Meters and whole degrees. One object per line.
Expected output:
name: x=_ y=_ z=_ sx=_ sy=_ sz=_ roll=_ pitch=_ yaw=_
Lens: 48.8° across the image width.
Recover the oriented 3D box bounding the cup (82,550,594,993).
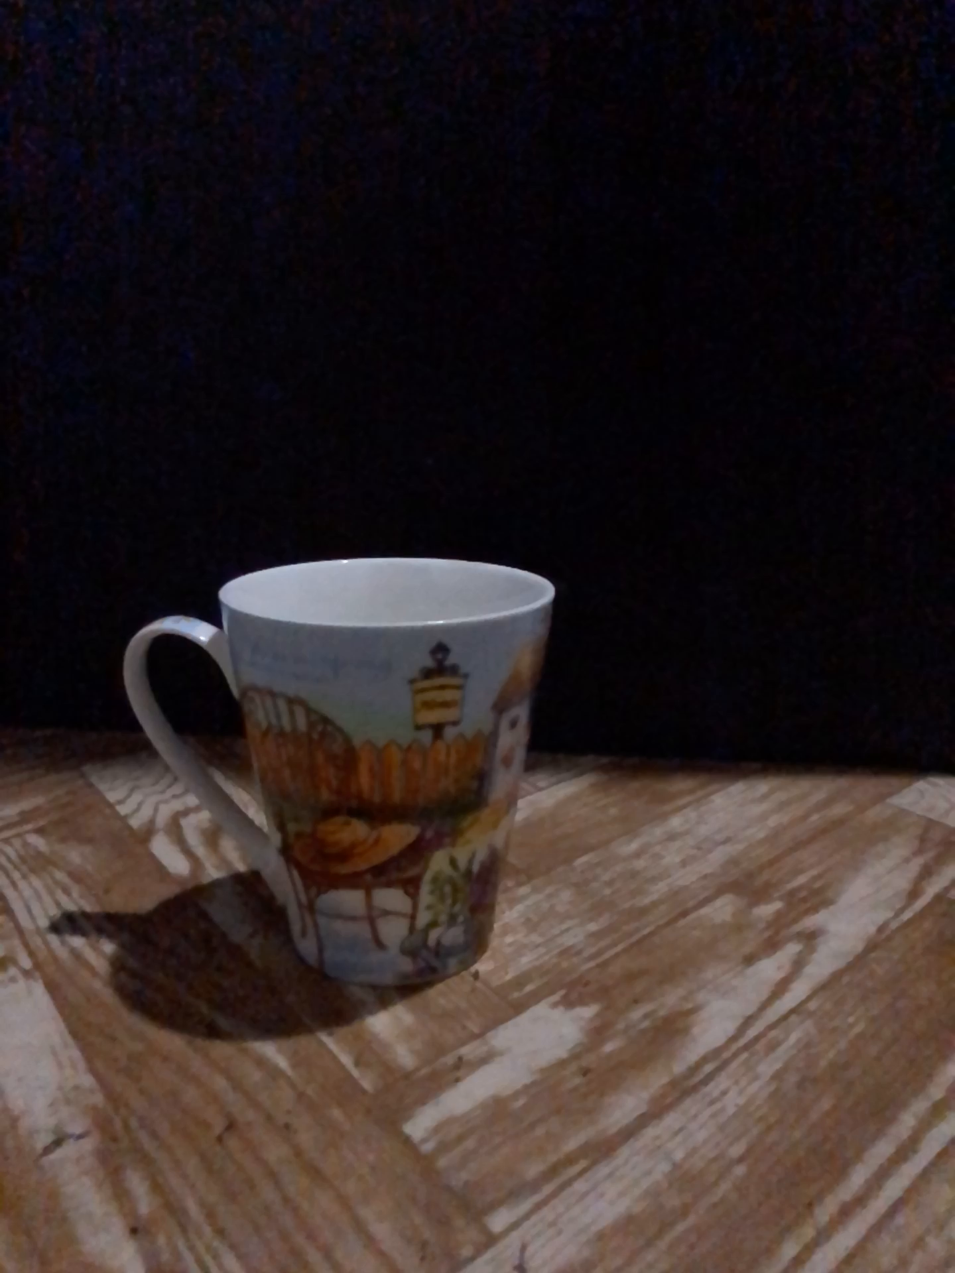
cup: x=-0.029 y=0.029 z=0.276 sx=0.111 sy=0.090 sz=0.079 roll=1 pitch=14 yaw=2
